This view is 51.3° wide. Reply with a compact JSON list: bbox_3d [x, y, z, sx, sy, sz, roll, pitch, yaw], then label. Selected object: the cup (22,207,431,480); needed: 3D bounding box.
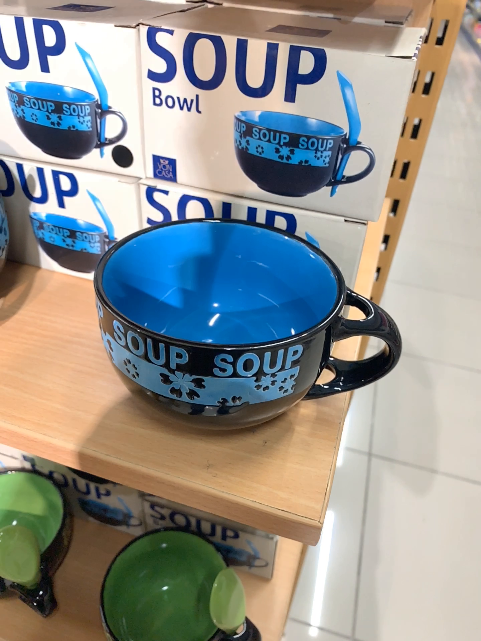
[{"bbox_3d":[-0.003,0.004,0.239,0.150,0.060,0.100,8,36,3],"label":"cup"}]
